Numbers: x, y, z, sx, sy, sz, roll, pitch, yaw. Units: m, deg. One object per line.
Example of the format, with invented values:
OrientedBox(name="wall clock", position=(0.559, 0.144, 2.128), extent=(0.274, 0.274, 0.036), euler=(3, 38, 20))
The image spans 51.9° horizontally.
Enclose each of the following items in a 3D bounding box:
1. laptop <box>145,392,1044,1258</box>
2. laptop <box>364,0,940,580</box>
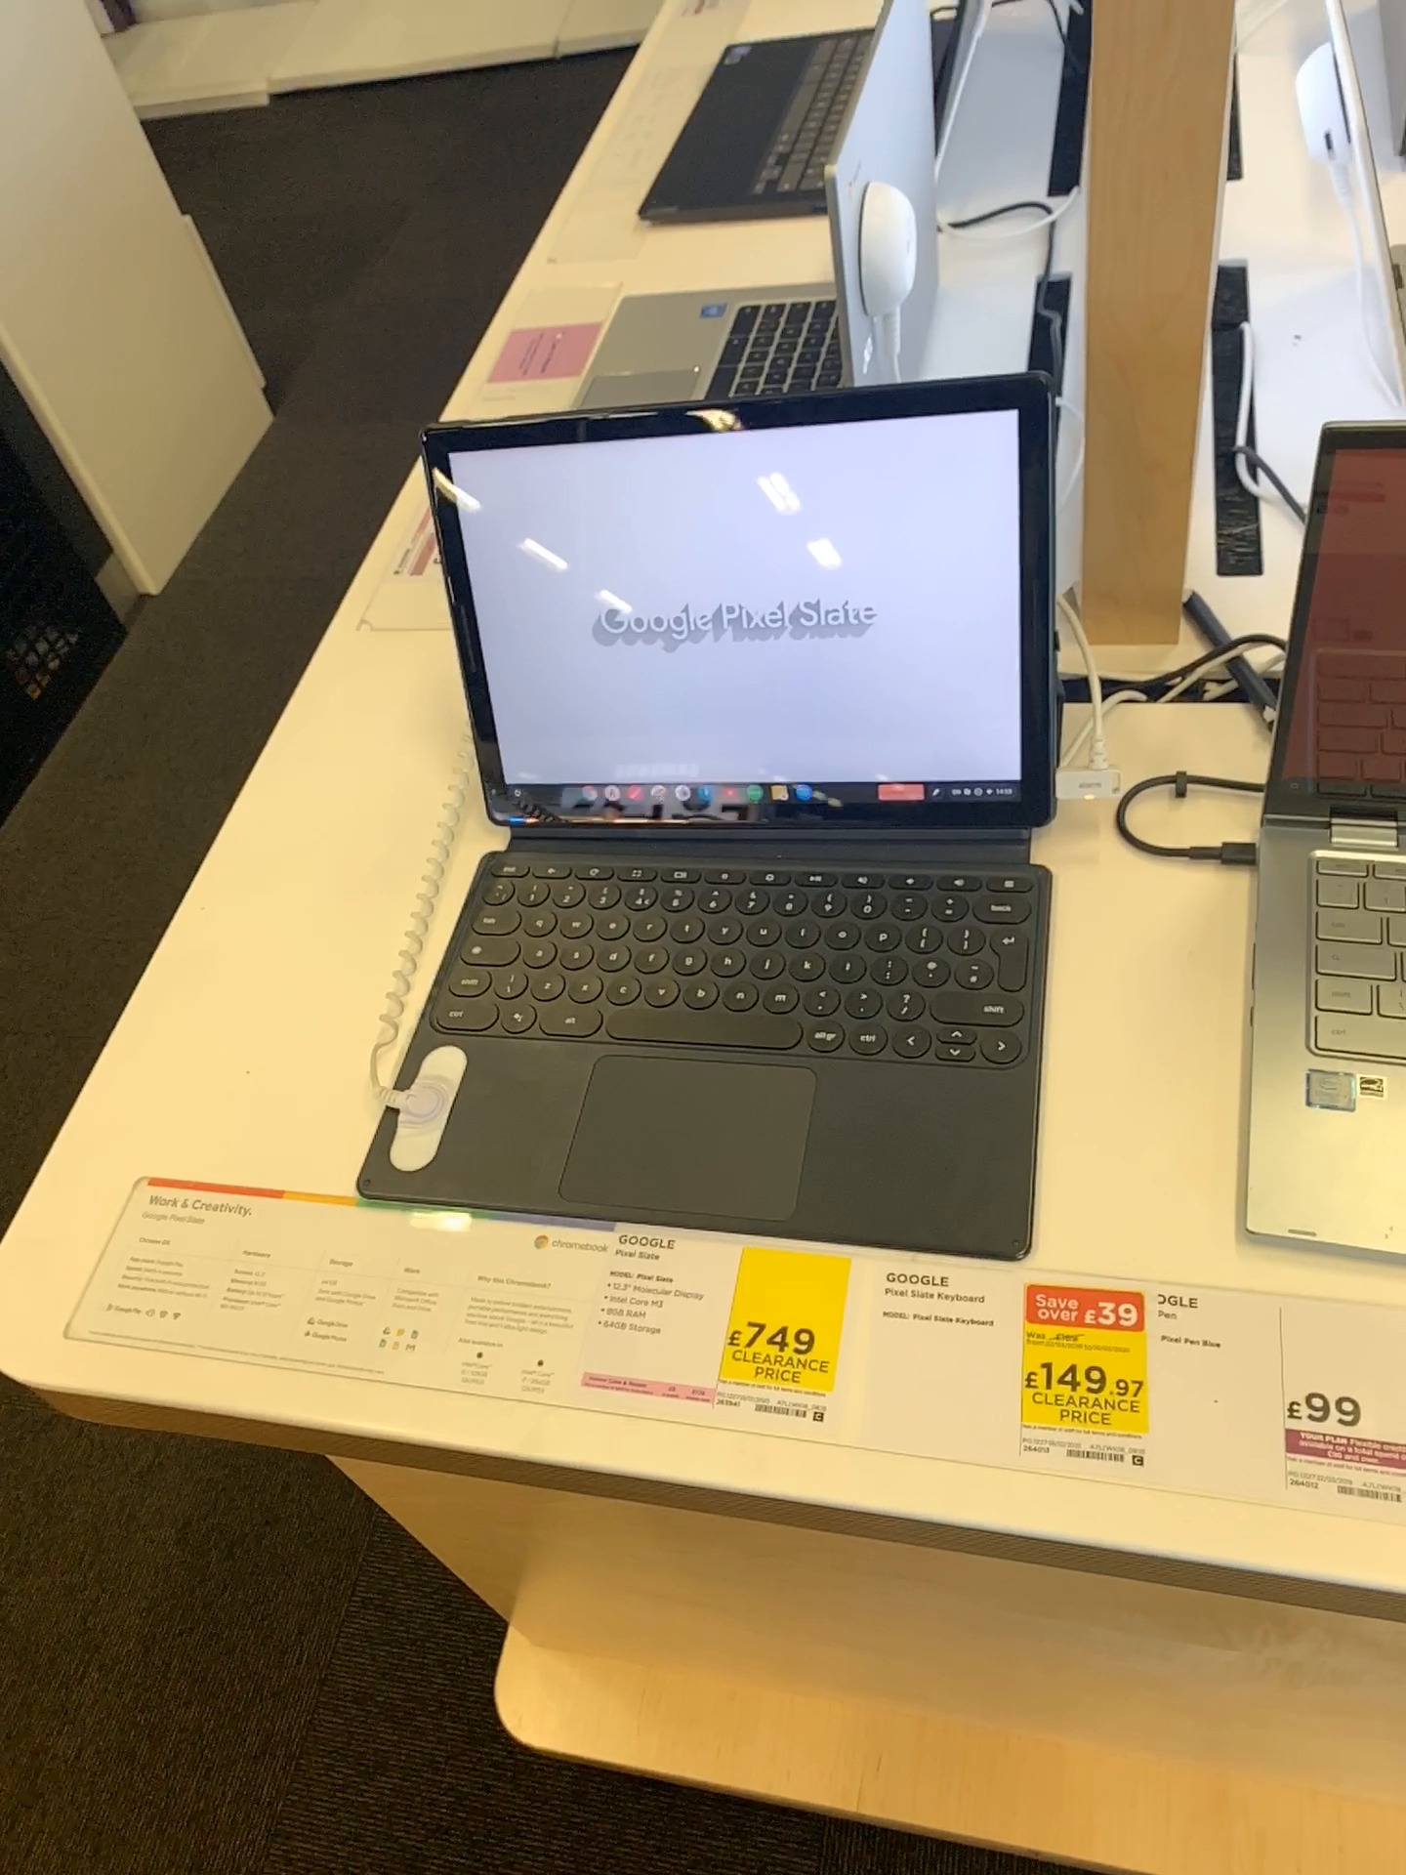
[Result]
OrientedBox(name="laptop", position=(-0.008, -0.054, 0.613), extent=(0.285, 0.187, 0.295), euler=(2, 52, 15))
OrientedBox(name="laptop", position=(-0.001, -0.411, 0.866), extent=(0.233, 0.222, 0.321), euler=(3, 53, 15))
